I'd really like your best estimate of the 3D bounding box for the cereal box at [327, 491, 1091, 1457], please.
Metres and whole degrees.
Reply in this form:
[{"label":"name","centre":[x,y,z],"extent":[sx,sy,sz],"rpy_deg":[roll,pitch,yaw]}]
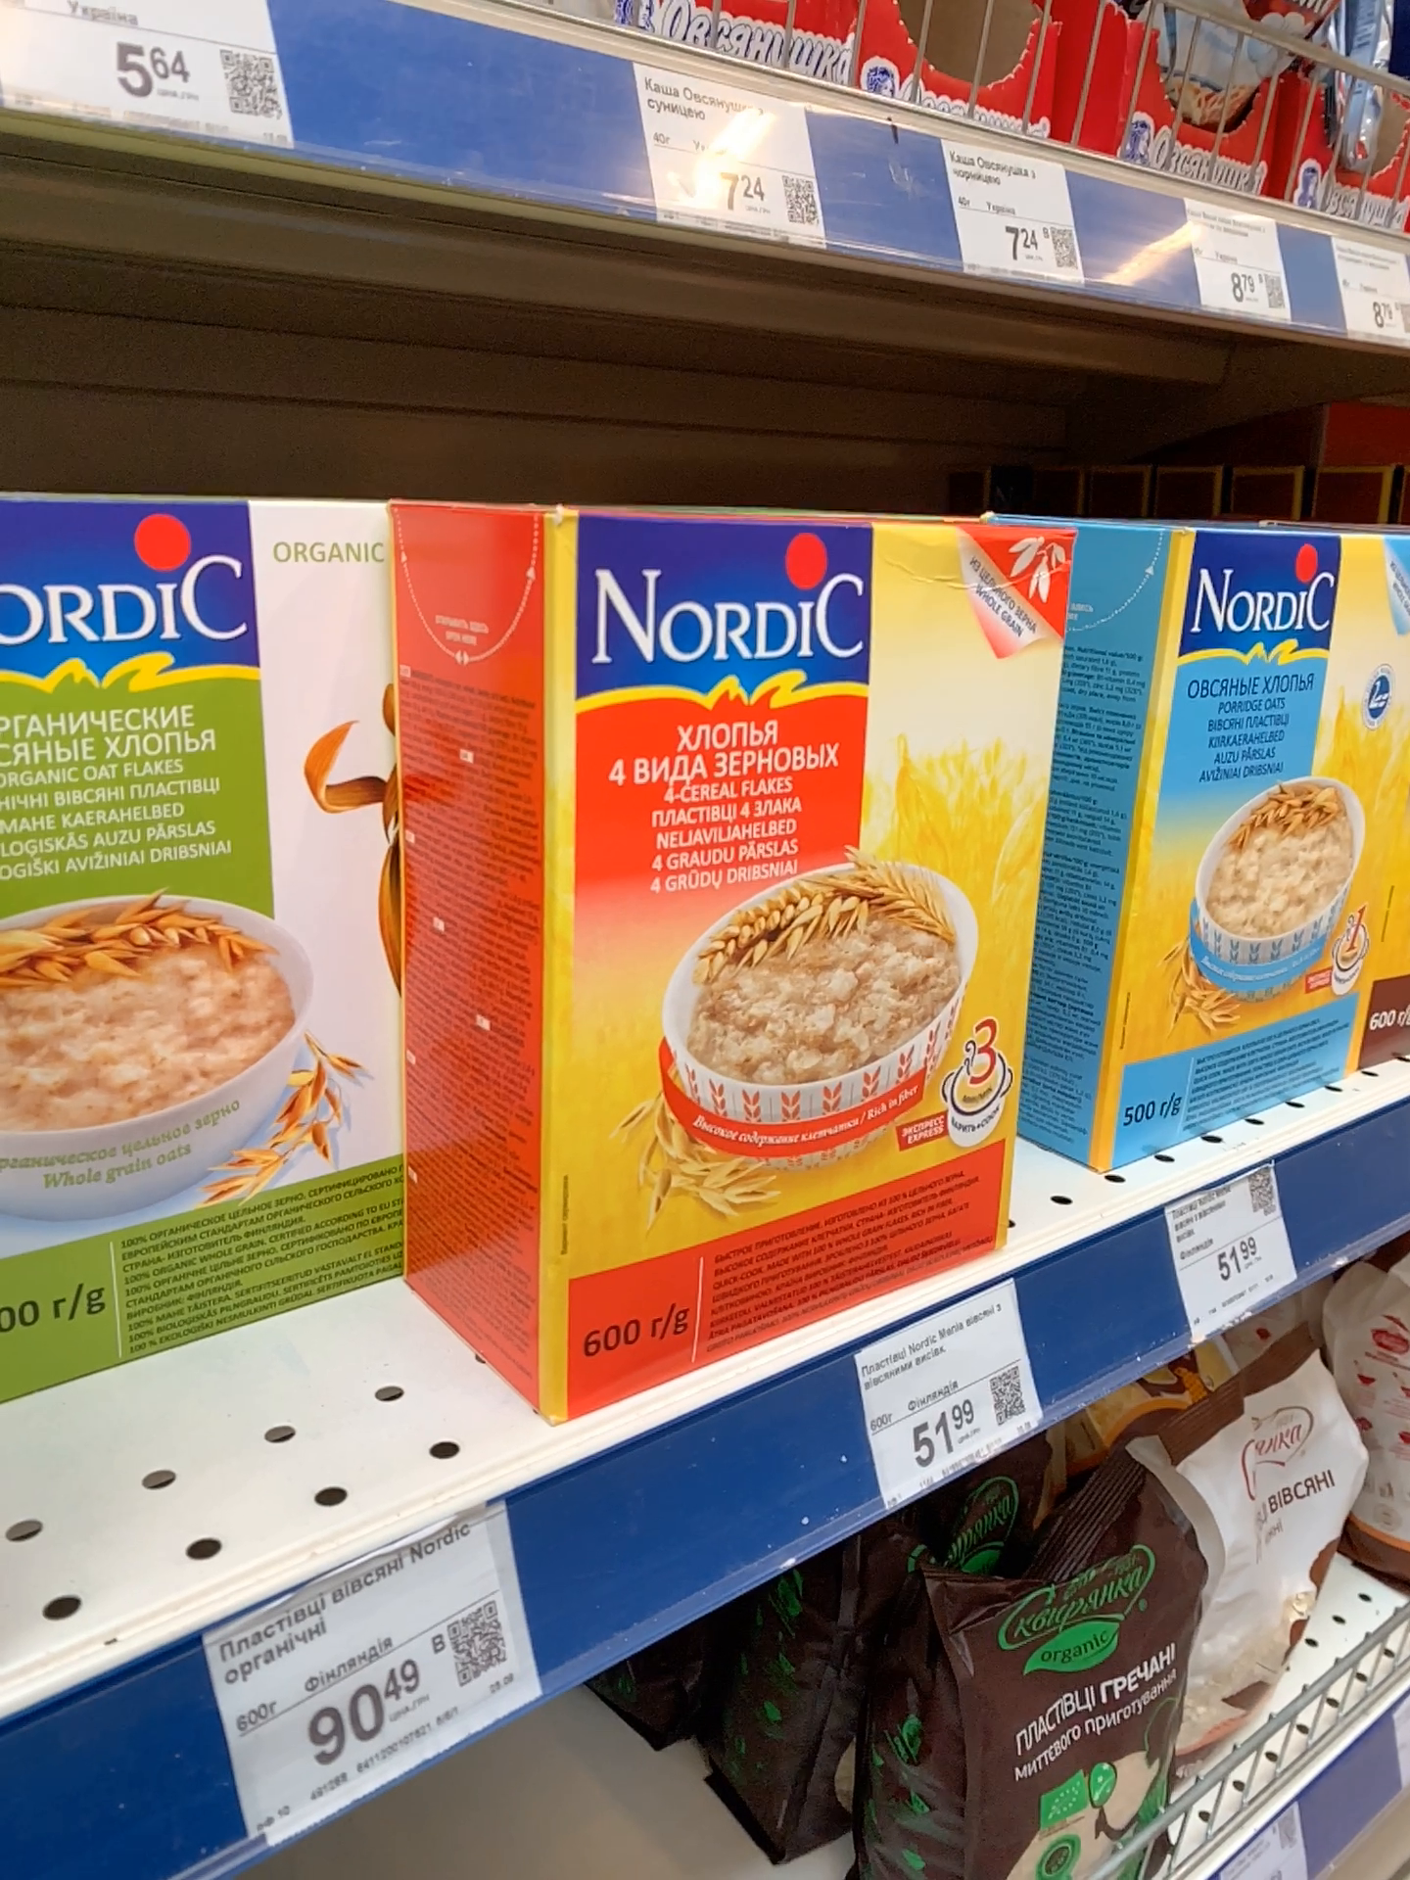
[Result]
[{"label":"cereal box","centre":[0.001,-0.006,0.347],"extent":[0.150,0.189,0.080],"rpy_deg":[-10,20,-35]}]
